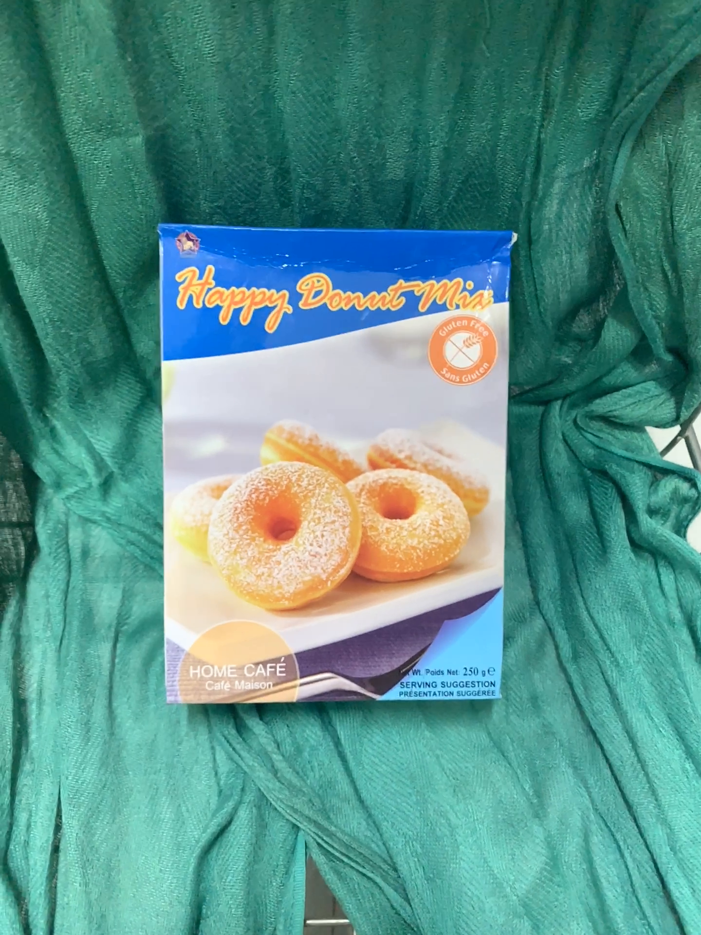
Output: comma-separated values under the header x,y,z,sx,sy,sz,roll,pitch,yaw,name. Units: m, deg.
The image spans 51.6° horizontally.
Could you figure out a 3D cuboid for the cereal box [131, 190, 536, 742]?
x,y,z,sx,sy,sz,roll,pitch,yaw,name
-0.007,0.000,0.270,0.130,0.060,0.180,0,95,-4,cereal box
